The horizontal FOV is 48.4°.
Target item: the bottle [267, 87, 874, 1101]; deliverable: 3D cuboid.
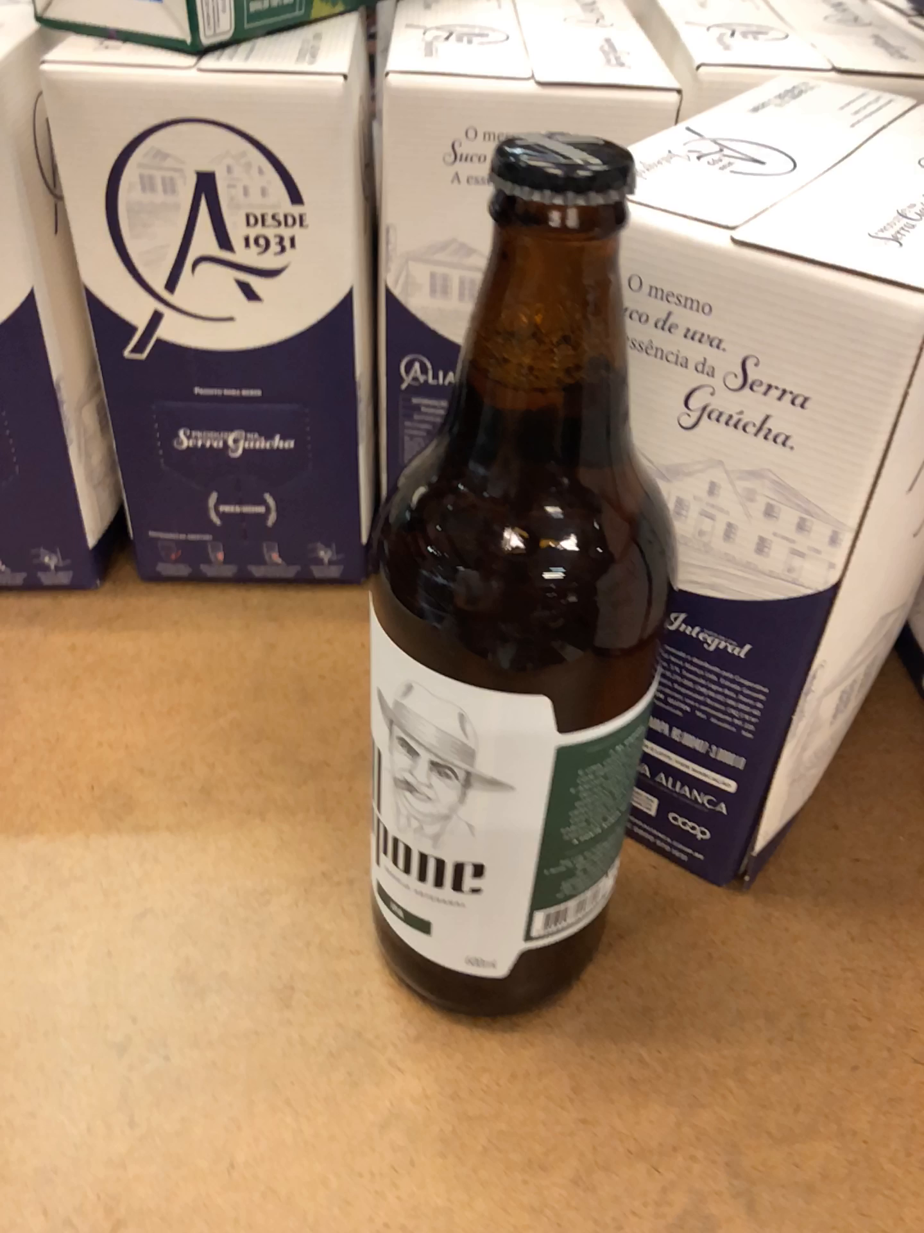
[{"bbox_3d":[0.013,0.009,0.251,0.070,0.228,0.080,-28,48,-33],"label":"bottle"}]
